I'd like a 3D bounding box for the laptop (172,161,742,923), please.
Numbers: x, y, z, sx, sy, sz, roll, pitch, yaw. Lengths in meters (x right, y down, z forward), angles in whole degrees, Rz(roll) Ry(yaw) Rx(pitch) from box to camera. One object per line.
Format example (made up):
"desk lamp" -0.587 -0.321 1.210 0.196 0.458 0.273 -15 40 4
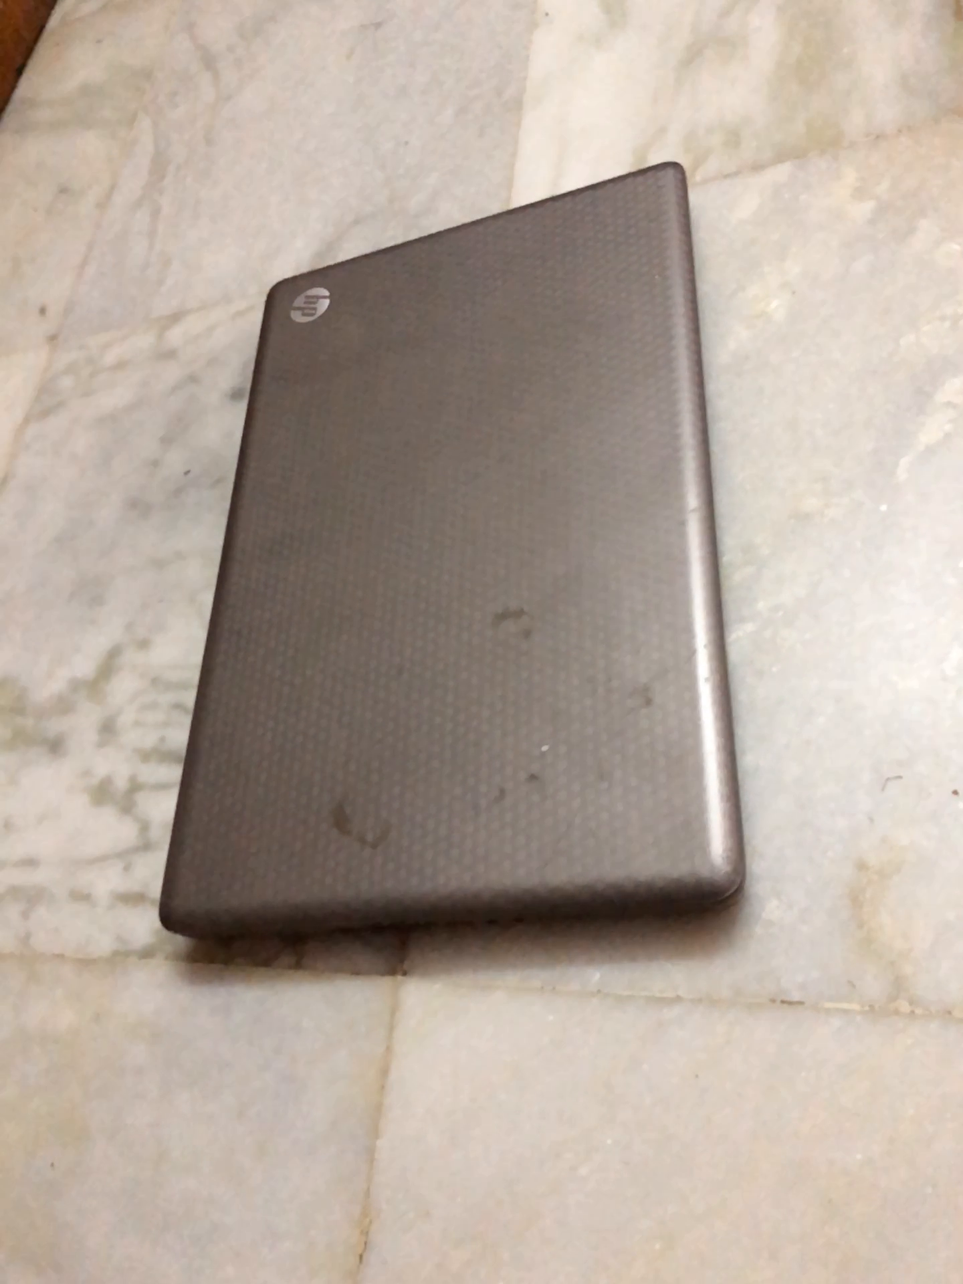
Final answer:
"laptop" -0.015 -0.066 0.526 0.252 0.003 0.395 -9 60 20
